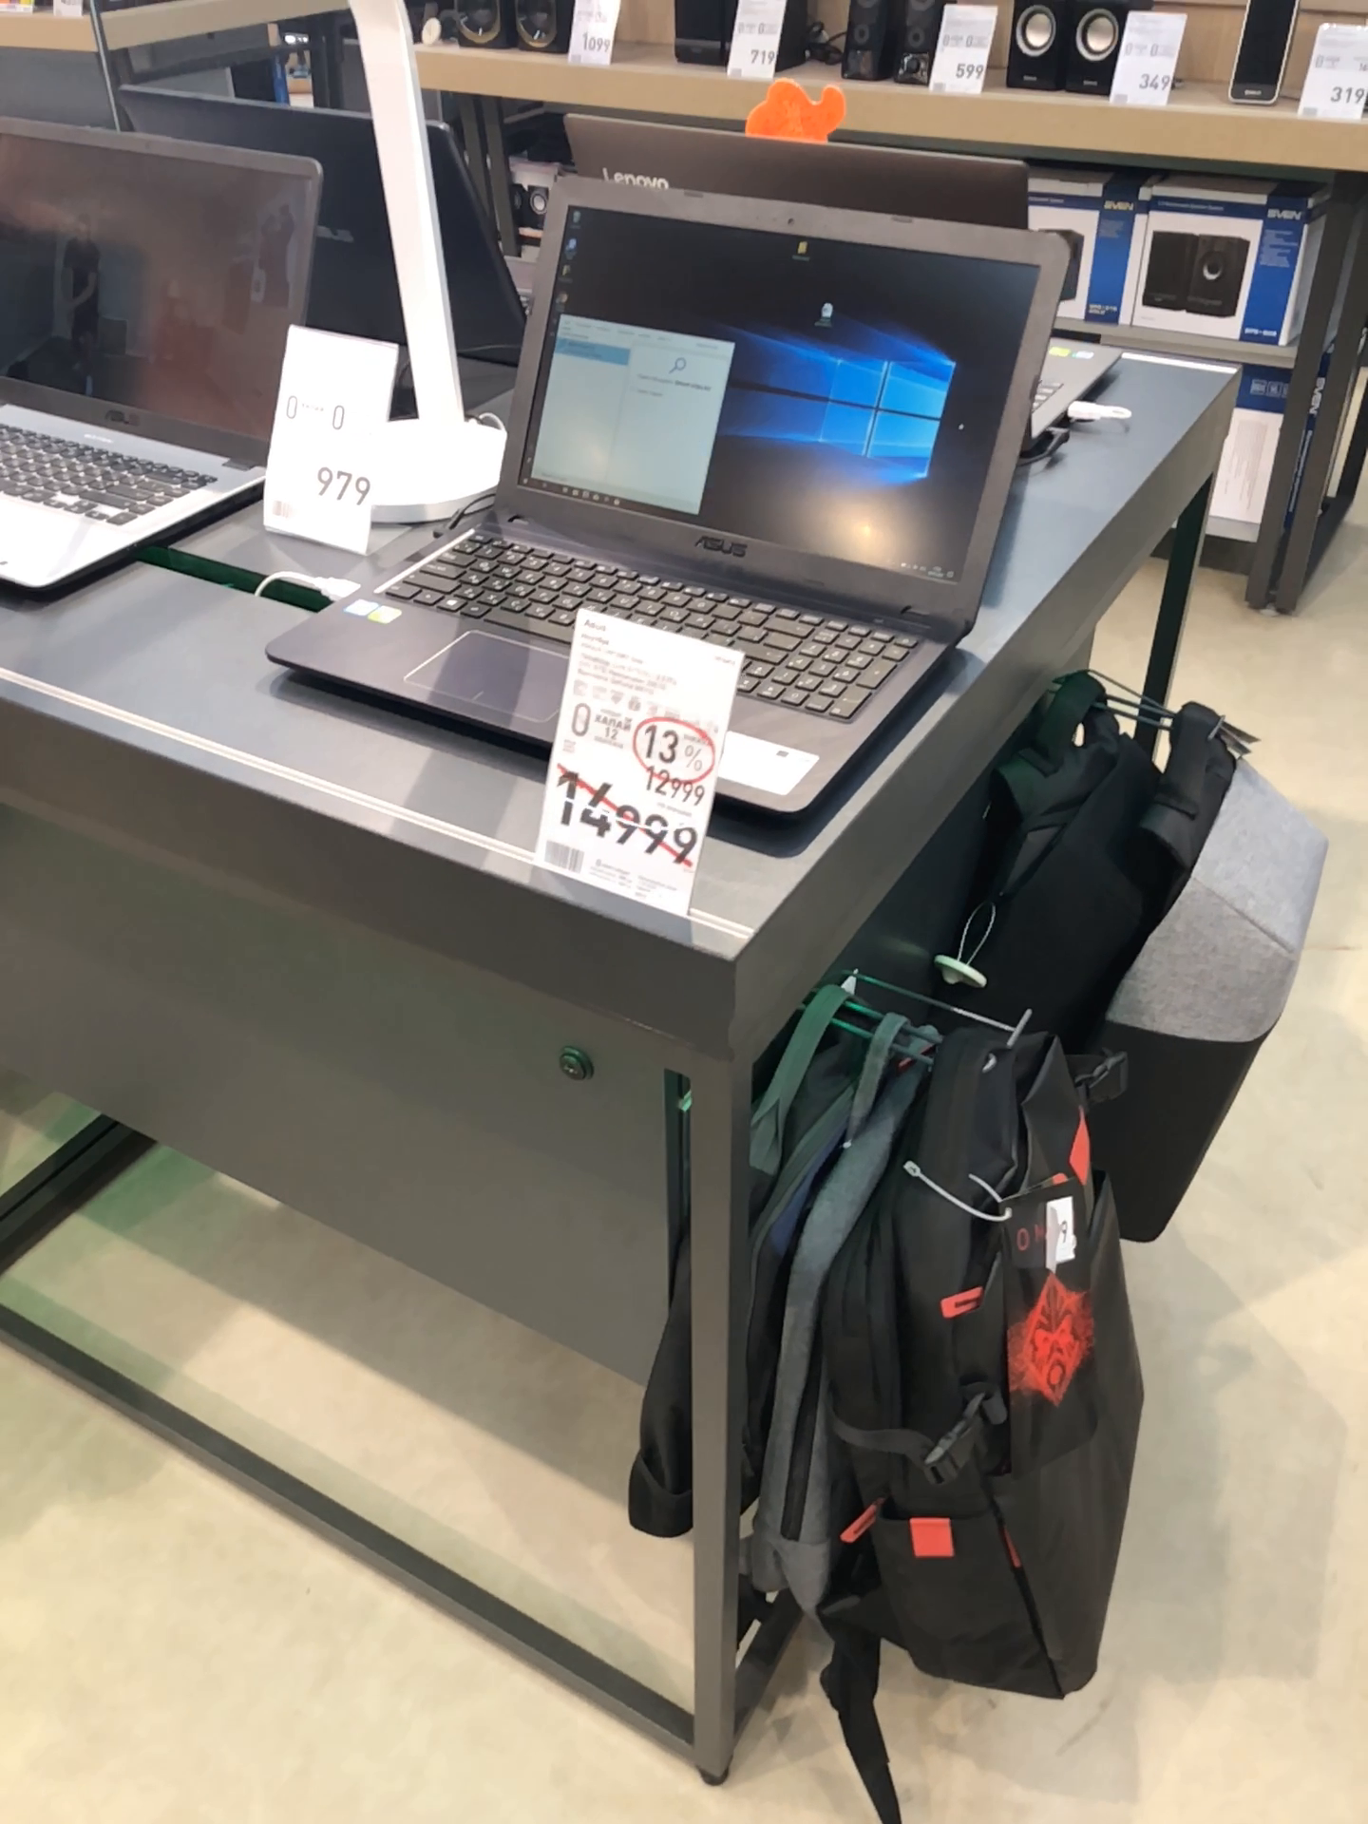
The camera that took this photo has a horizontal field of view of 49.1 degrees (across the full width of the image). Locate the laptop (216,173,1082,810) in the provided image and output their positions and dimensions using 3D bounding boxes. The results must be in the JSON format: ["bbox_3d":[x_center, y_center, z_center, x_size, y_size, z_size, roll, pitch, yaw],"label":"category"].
[{"bbox_3d":[-0.007,-0.296,0.949,0.380,0.209,0.371,18,42,24],"label":"laptop"}]
